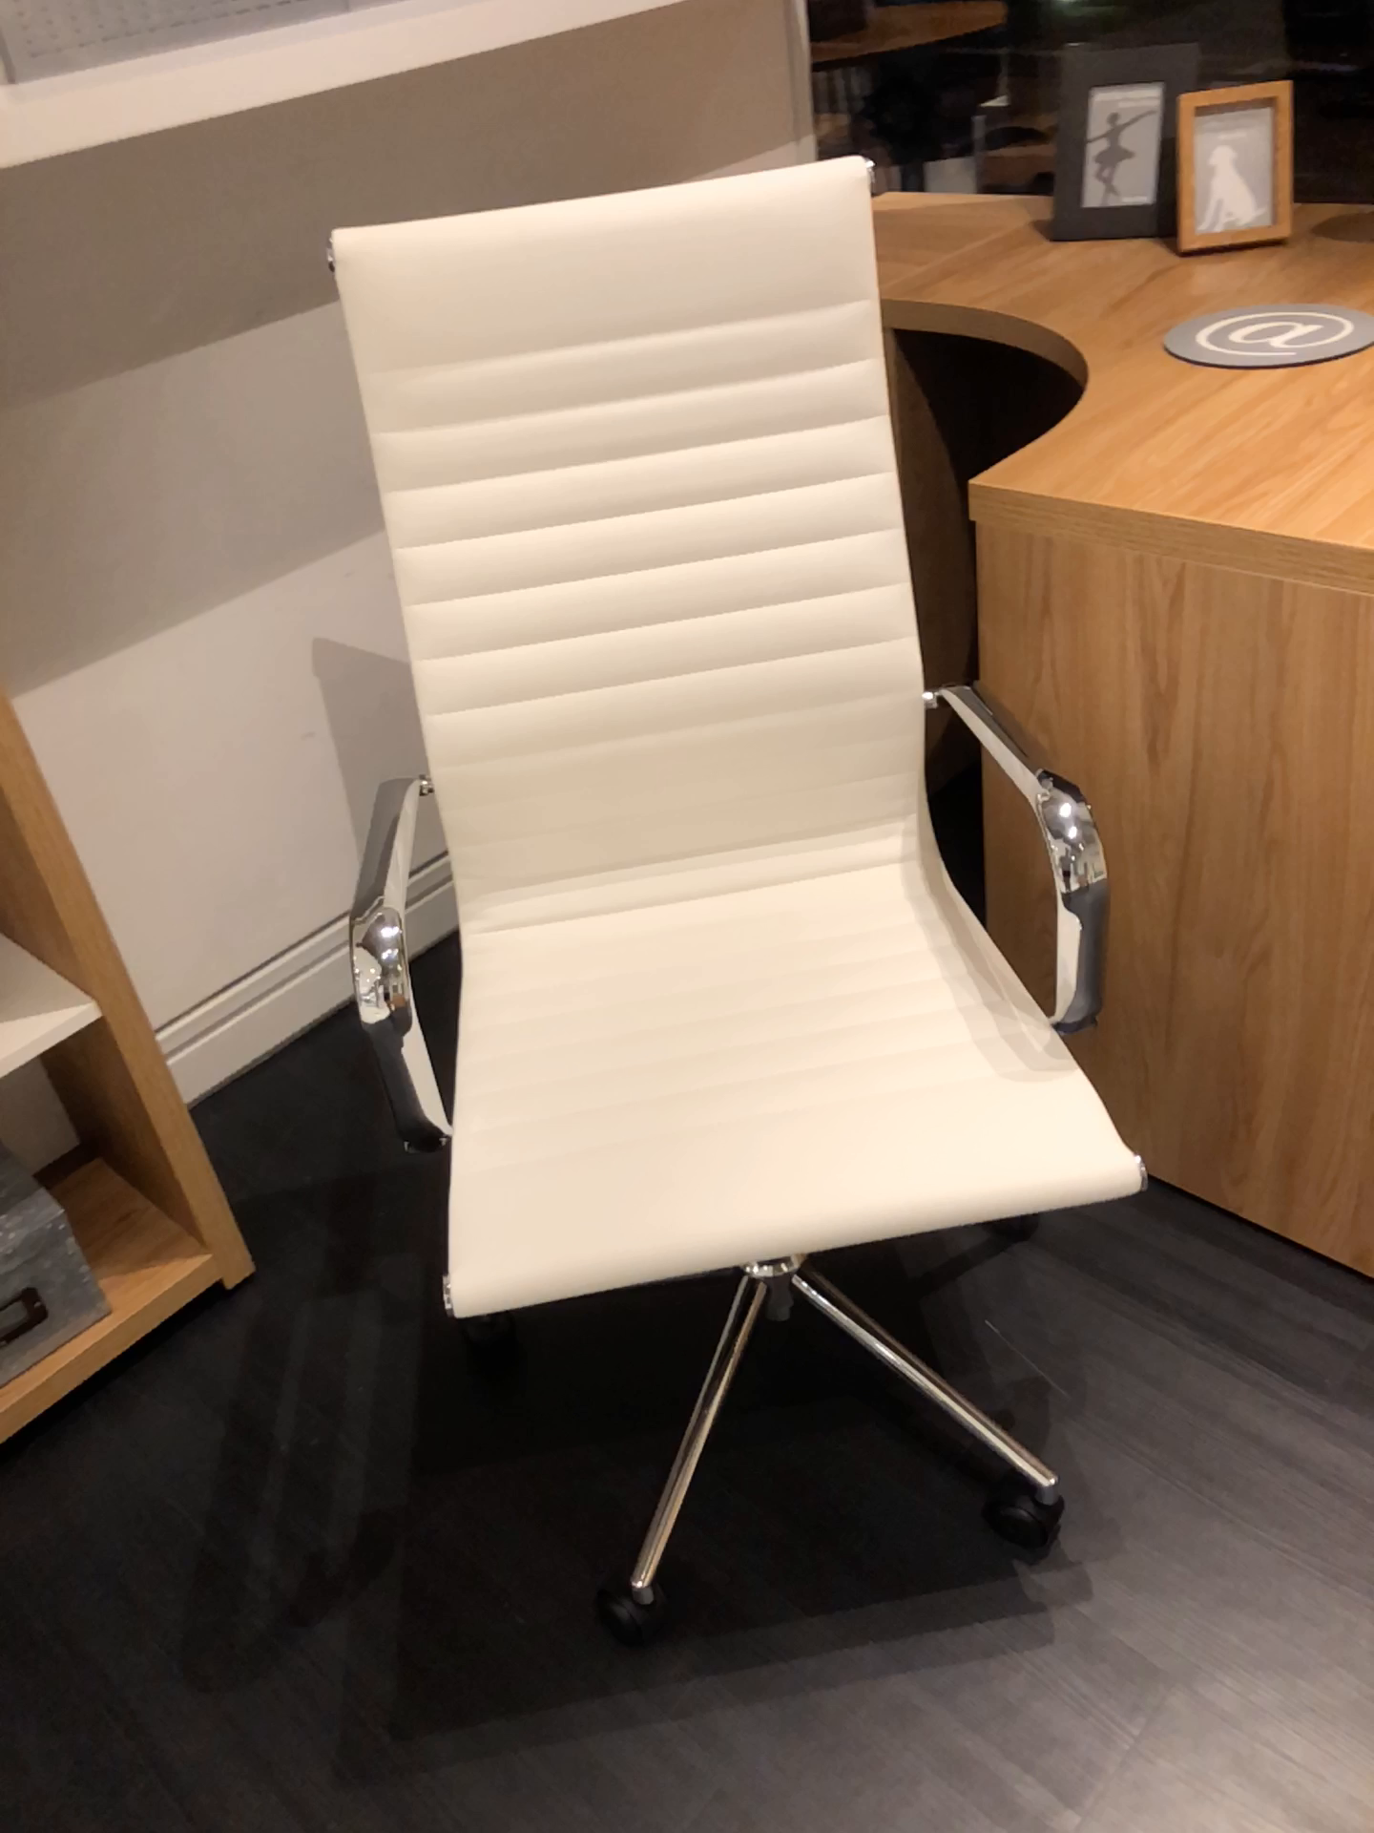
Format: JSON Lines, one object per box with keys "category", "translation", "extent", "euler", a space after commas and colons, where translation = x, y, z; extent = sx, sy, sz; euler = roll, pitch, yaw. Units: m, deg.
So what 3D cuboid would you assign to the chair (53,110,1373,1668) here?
{"category": "chair", "translation": [0.047, -0.014, 1.251], "extent": [0.630, 1.012, 0.635], "euler": [-10, 34, -1]}
